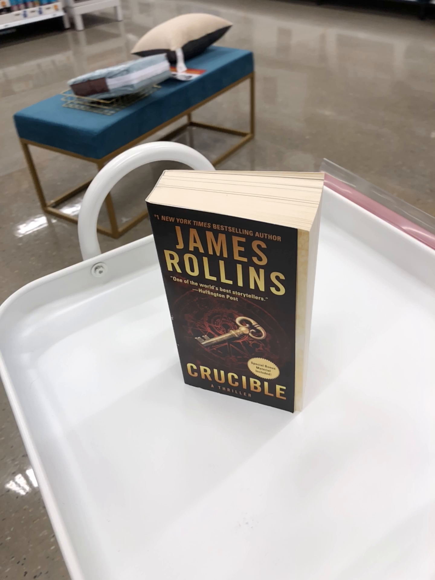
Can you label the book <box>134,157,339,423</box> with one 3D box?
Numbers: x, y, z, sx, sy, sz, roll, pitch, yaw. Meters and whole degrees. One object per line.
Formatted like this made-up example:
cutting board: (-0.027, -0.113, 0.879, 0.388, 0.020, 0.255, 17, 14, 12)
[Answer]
book: (0.020, 0.007, 0.358, 0.112, 0.184, 0.066, 9, 44, 15)
